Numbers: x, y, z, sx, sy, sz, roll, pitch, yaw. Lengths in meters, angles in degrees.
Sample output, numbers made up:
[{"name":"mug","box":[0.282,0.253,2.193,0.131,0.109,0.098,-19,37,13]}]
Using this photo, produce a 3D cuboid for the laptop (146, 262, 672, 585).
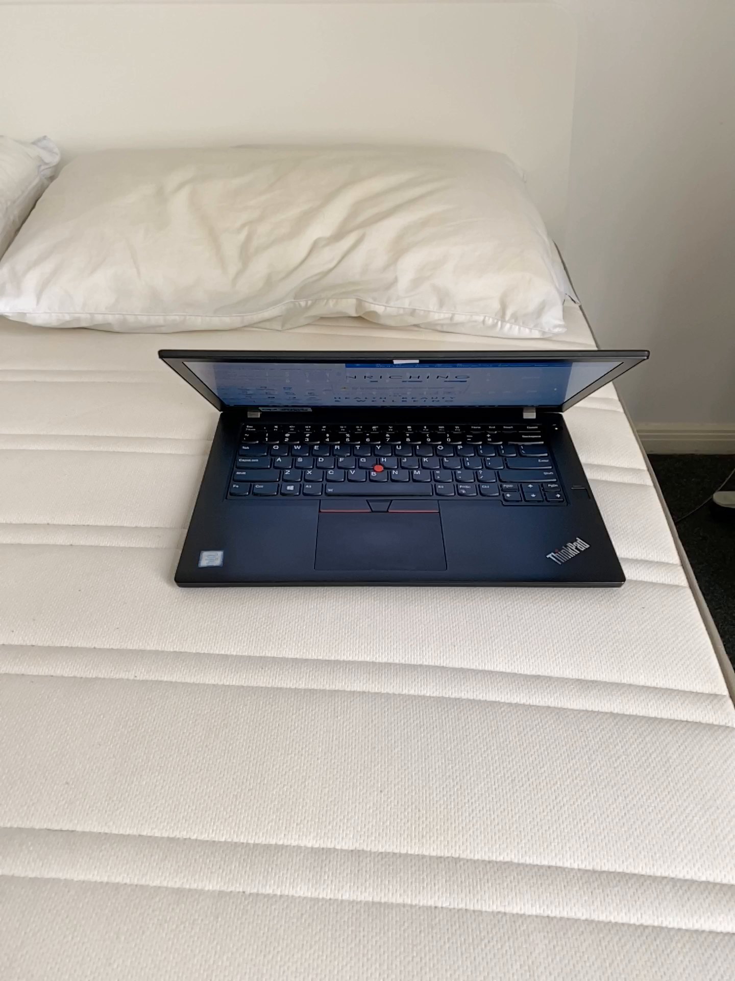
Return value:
[{"name":"laptop","box":[0.027,-0.062,0.593,0.324,0.150,0.221,-1,39,-1]}]
